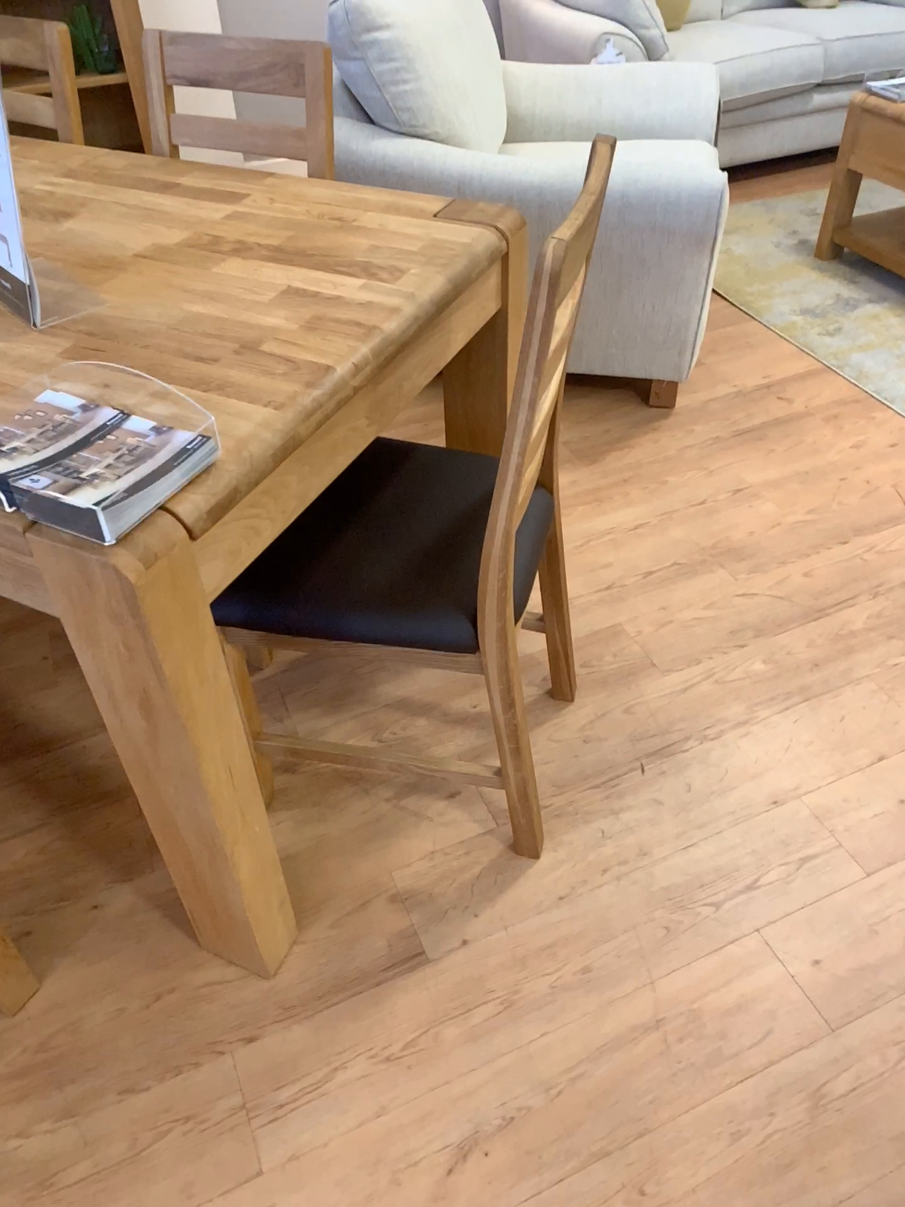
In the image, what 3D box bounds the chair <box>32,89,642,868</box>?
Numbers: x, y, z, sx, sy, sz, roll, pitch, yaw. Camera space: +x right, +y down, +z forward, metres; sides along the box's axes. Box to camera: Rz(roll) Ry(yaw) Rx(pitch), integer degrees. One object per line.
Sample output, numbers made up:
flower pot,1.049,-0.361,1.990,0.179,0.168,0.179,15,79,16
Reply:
chair,-0.075,-0.131,1.262,0.517,0.917,0.424,9,43,13
